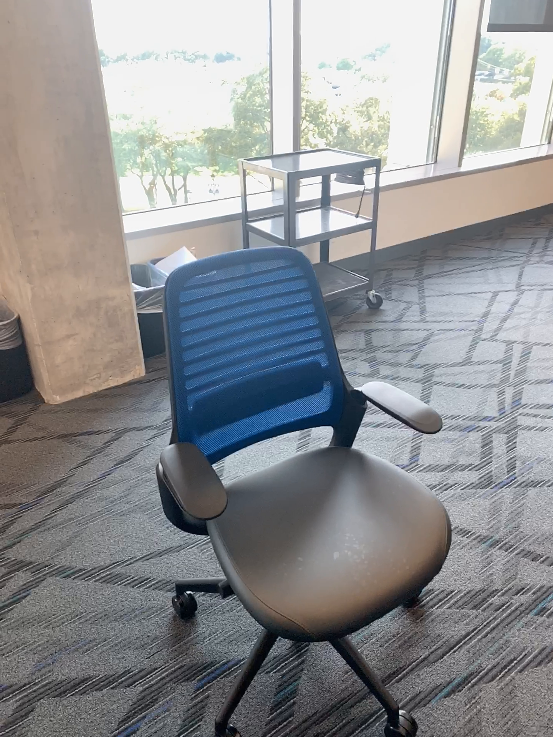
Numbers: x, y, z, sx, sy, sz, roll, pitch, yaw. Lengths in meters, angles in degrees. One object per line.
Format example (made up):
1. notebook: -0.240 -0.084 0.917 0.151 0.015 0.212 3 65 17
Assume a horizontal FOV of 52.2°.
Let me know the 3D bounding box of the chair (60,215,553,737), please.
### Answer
1. chair: 0.088 0.245 1.190 0.702 0.883 0.684 -20 34 -31
